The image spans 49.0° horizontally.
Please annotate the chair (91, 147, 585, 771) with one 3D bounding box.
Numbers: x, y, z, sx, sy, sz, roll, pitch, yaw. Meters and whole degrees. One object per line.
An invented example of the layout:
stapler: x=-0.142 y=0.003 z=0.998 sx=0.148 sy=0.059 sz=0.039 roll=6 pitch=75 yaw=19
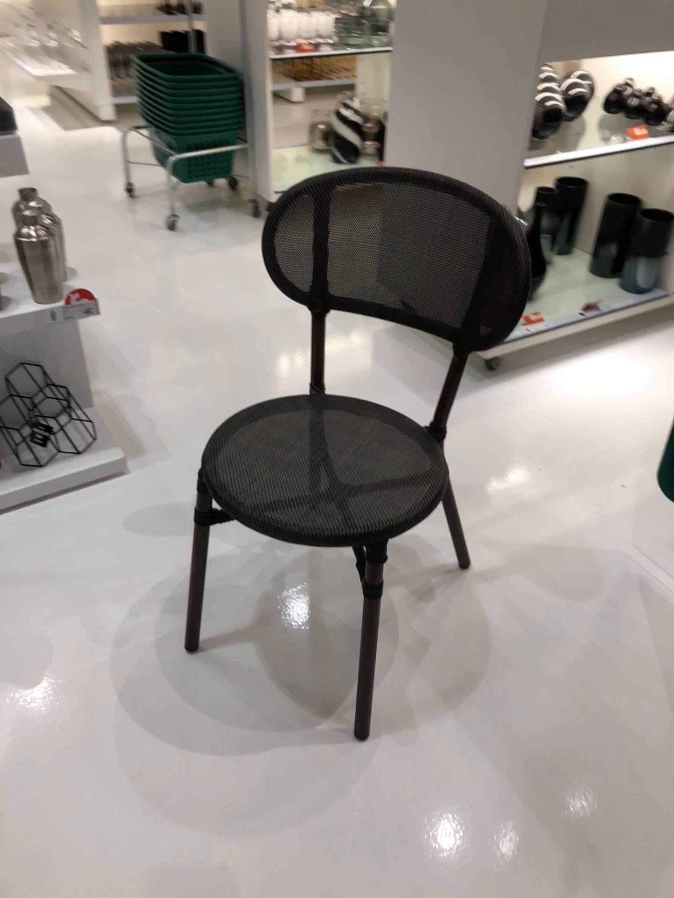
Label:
chair: x=0.027 y=-0.007 z=1.240 sx=0.471 sy=0.764 sz=0.554 roll=19 pitch=40 yaw=22
